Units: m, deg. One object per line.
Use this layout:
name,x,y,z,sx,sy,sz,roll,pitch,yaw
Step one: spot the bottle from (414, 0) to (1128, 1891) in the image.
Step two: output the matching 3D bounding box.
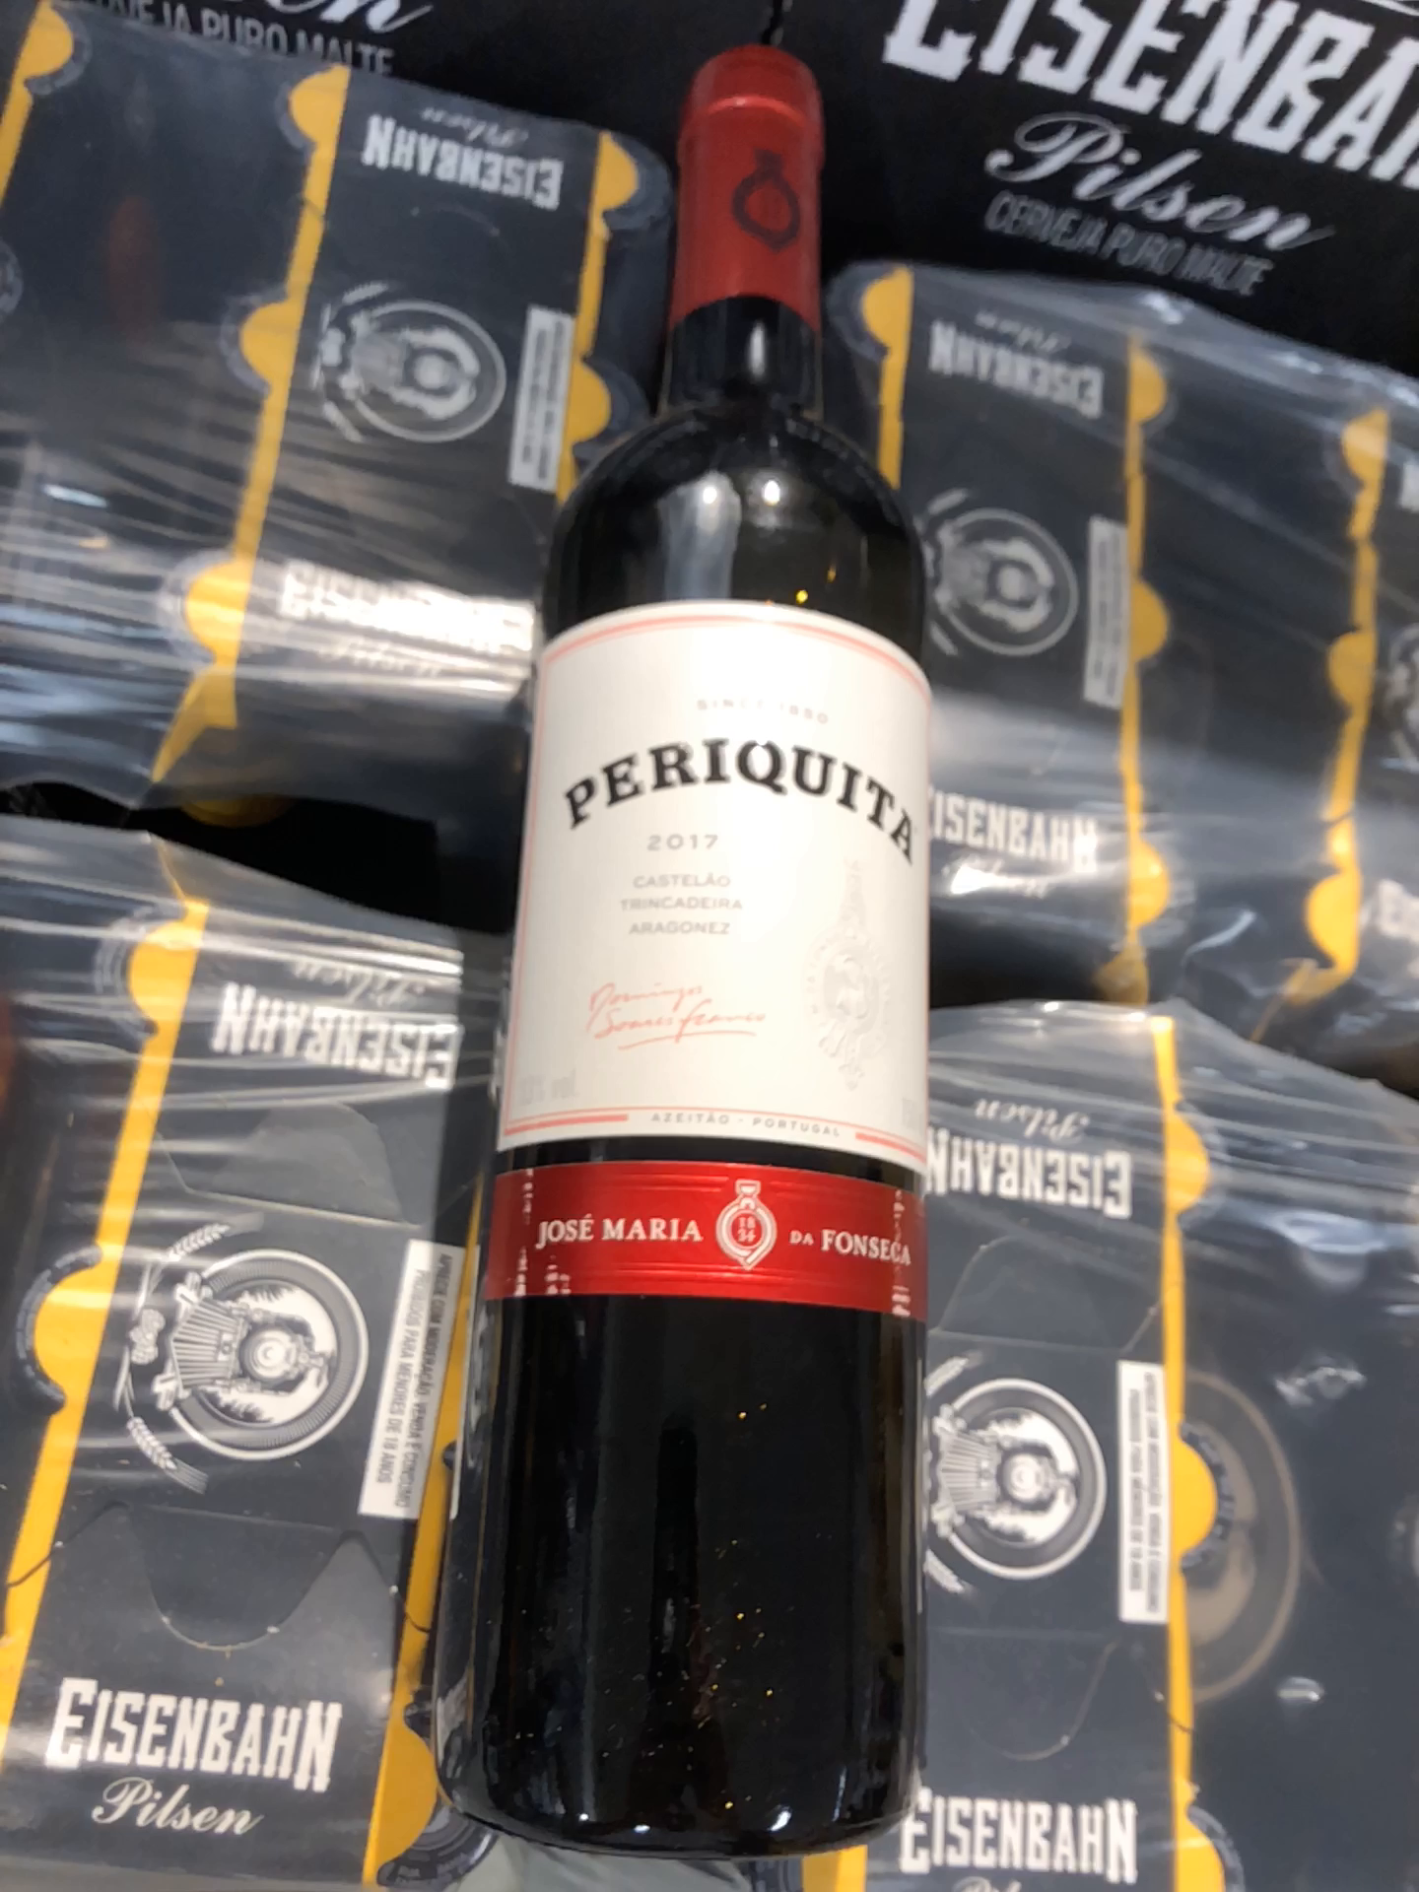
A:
bottle,0.010,-0.036,0.265,0.080,0.070,0.331,7,72,-12
